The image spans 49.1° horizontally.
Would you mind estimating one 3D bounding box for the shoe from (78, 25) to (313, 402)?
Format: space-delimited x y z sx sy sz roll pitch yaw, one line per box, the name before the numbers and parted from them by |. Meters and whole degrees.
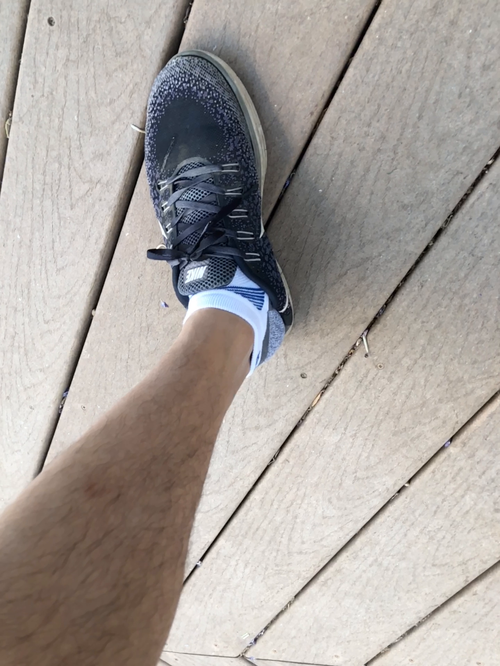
shoe | -0.036 -0.095 0.511 0.120 0.090 0.311 -4 113 22
